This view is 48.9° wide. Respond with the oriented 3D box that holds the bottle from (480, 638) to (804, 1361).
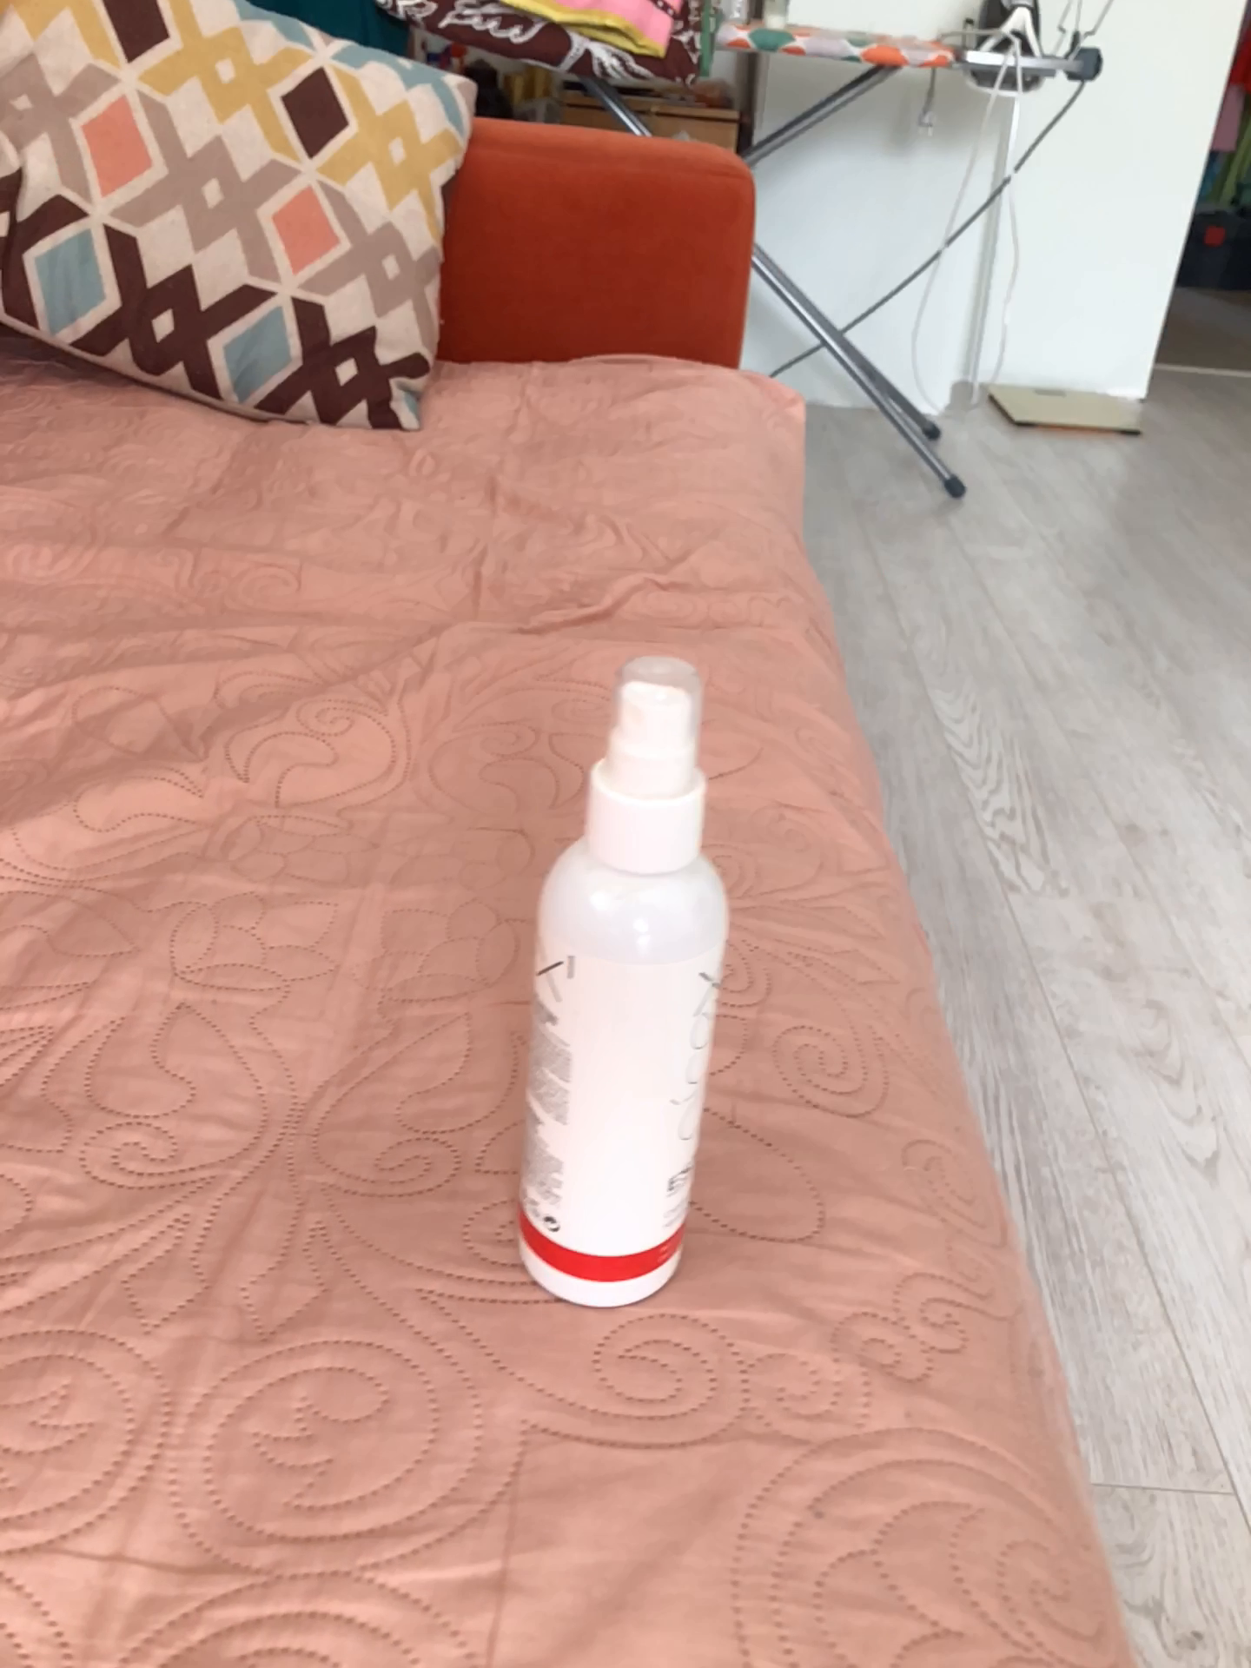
[{"bbox_3d":[0.001,0.044,0.336,0.050,0.169,0.050,4,31,-2],"label":"bottle"}]
